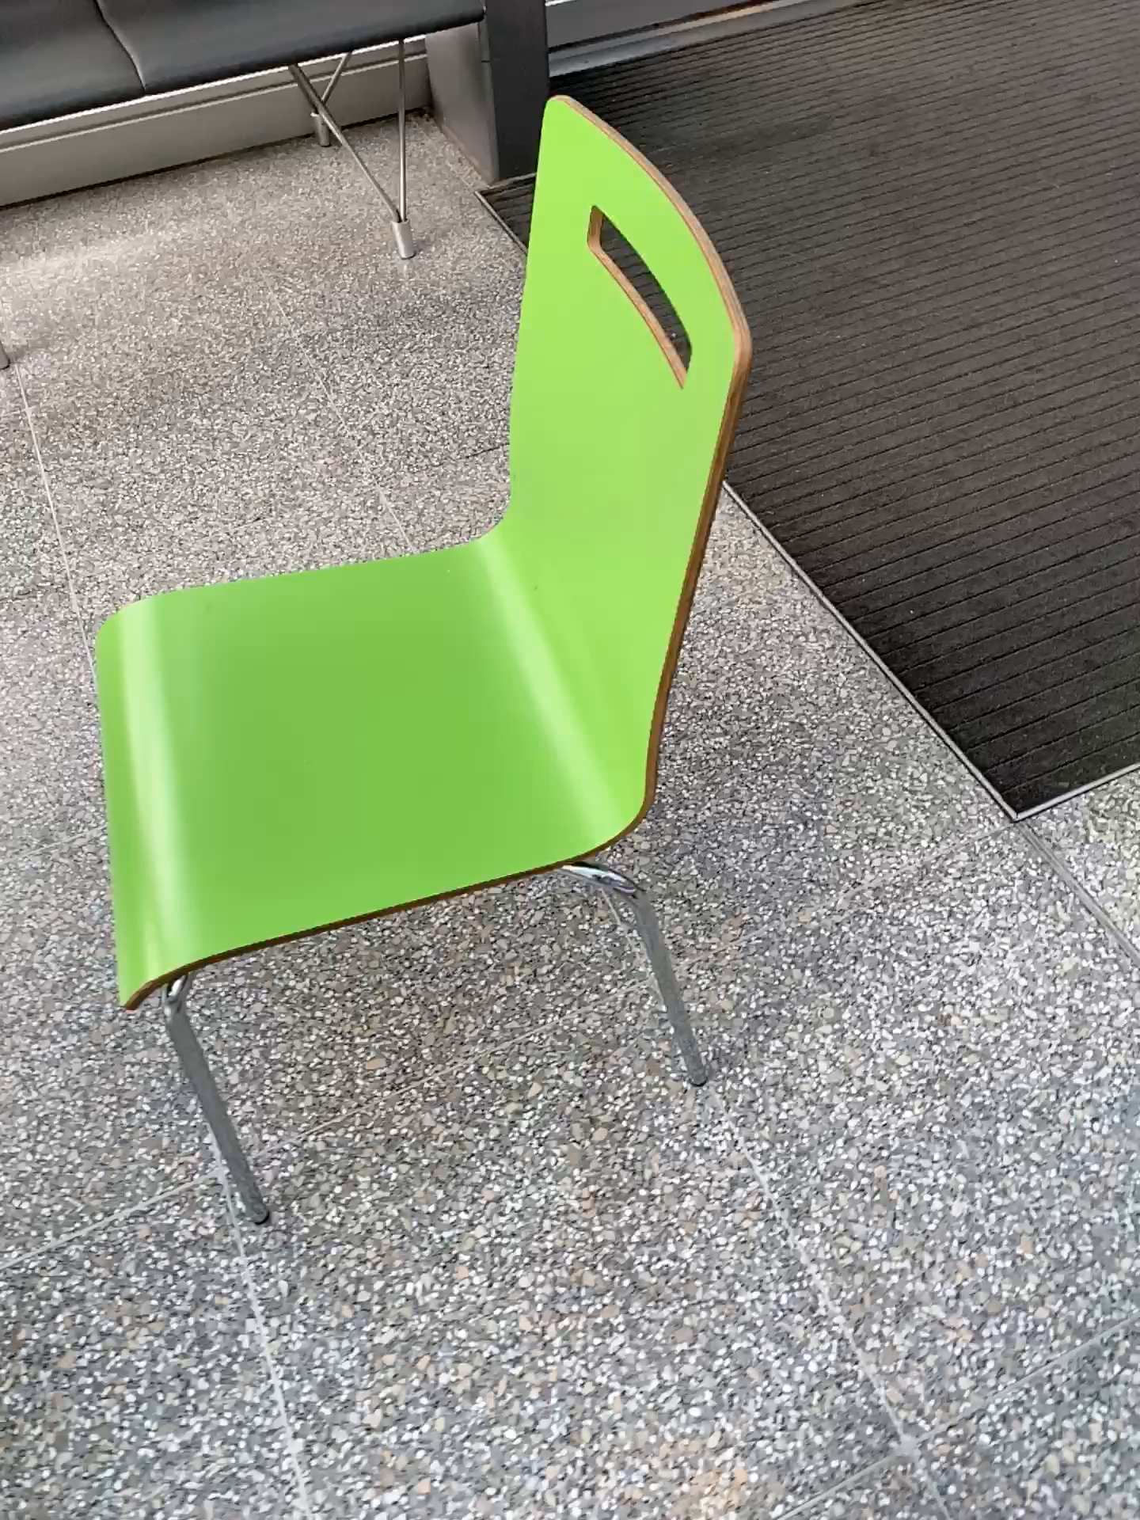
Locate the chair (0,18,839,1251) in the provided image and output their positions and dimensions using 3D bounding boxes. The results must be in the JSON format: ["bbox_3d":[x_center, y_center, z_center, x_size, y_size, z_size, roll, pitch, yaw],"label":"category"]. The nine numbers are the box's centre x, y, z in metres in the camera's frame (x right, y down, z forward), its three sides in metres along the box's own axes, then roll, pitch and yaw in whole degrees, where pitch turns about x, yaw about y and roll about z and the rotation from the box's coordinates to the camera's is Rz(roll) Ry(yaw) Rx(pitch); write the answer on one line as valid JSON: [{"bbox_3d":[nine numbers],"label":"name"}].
[{"bbox_3d":[-0.184,-0.050,1.023,0.530,0.832,0.545,-16,52,-9],"label":"chair"}]
